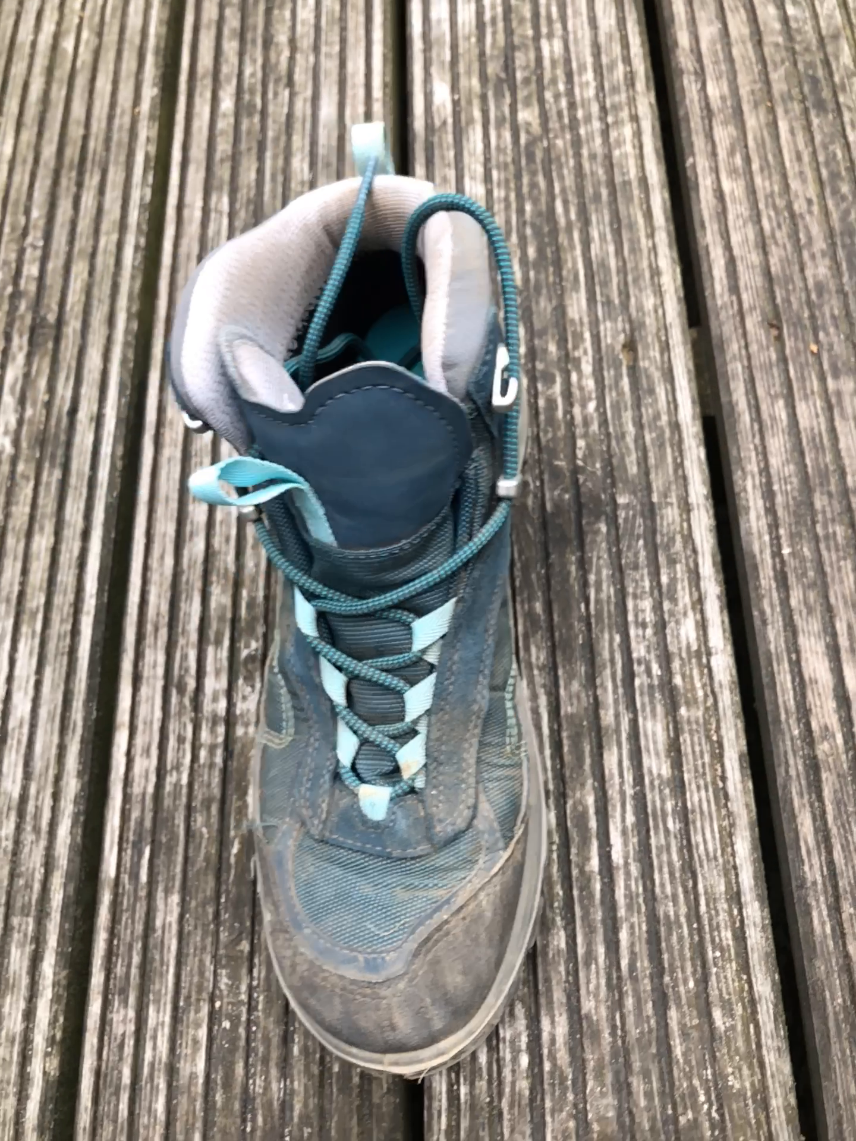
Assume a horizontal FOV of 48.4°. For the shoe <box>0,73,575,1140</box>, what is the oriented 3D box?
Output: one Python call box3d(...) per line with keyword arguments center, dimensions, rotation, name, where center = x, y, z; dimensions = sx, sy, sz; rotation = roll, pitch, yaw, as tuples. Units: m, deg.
box3d(center=(-0.023, 0.008, 0.299), dimensions=(0.120, 0.120, 0.281), rotation=(-3, 69, 11), name="shoe")
